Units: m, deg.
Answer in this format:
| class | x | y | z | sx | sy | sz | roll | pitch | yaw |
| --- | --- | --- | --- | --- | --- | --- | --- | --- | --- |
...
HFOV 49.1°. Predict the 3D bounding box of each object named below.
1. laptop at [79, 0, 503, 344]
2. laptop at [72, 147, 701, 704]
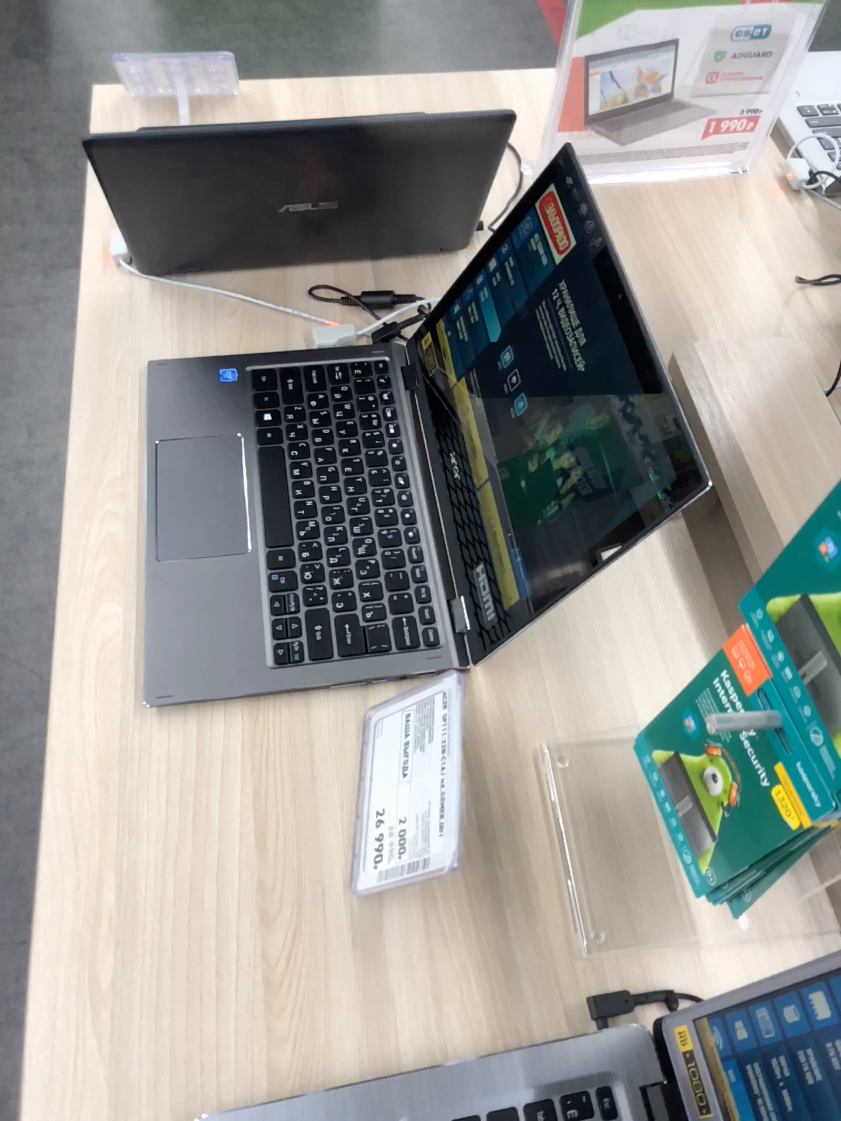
| class | x | y | z | sx | sy | sz | roll | pitch | yaw |
| --- | --- | --- | --- | --- | --- | --- | --- | --- | --- |
| laptop | -0.106 | -0.354 | 0.747 | 0.275 | 0.174 | 0.288 | -6 | 57 | -7 |
| laptop | -0.035 | -0.094 | 0.586 | 0.303 | 0.168 | 0.288 | -6 | 57 | -8 |
